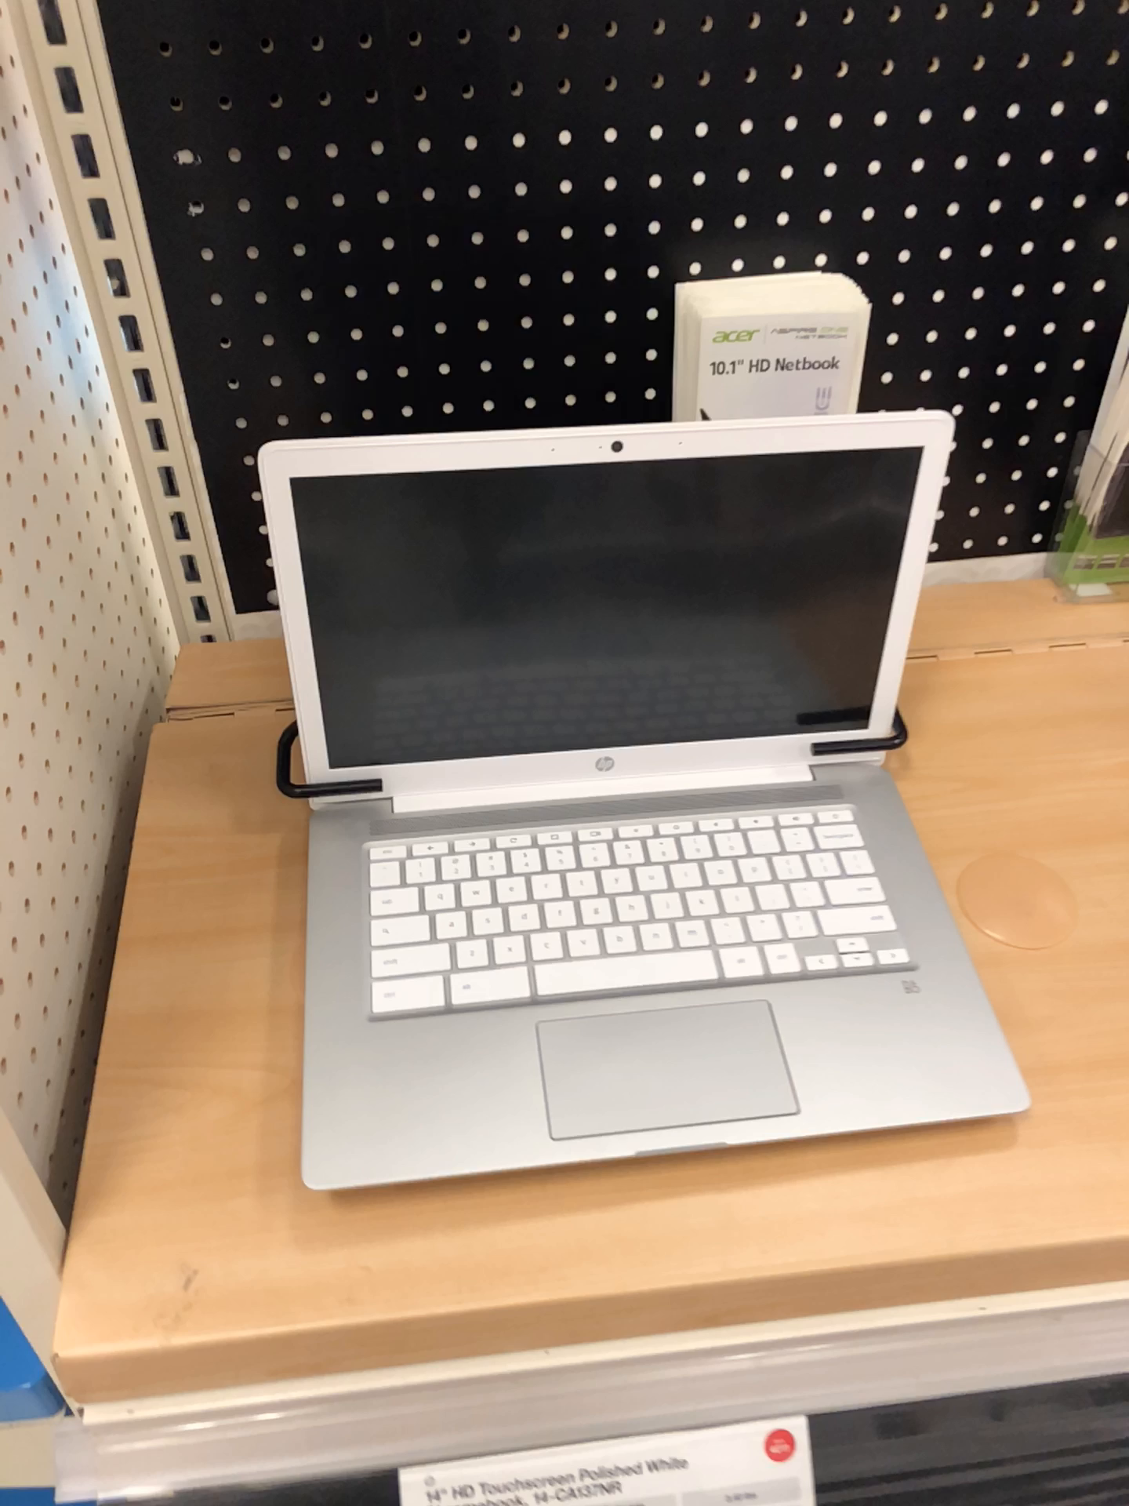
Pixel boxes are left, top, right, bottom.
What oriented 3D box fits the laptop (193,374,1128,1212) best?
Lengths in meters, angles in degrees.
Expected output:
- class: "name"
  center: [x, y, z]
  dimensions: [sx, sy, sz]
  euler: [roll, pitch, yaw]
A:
- class: "laptop"
  center: [0.027, 0.000, 0.582]
  dimensions: [0.333, 0.198, 0.281]
  euler: [-5, 44, -7]
